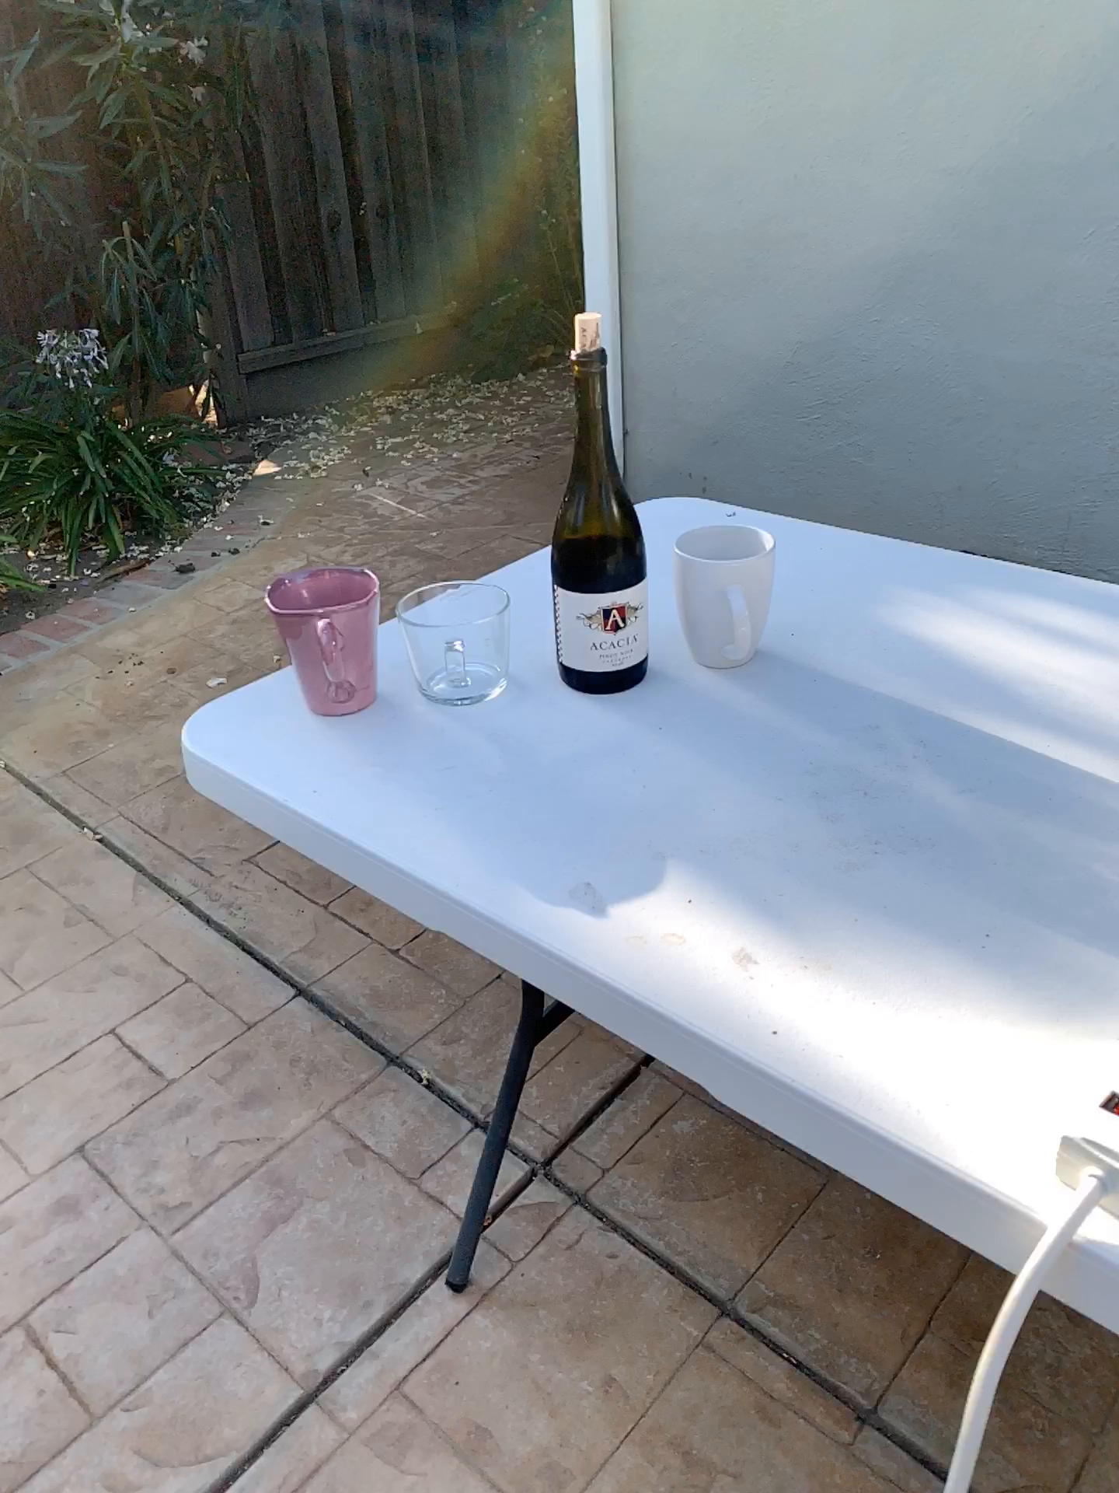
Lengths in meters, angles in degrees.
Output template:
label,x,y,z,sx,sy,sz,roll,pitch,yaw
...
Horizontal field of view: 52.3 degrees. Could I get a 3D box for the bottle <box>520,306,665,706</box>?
label,x,y,z,sx,sy,sz,roll,pitch,yaw
bottle,0.031,-0.198,0.964,0.080,0.308,0.091,-14,31,-18
